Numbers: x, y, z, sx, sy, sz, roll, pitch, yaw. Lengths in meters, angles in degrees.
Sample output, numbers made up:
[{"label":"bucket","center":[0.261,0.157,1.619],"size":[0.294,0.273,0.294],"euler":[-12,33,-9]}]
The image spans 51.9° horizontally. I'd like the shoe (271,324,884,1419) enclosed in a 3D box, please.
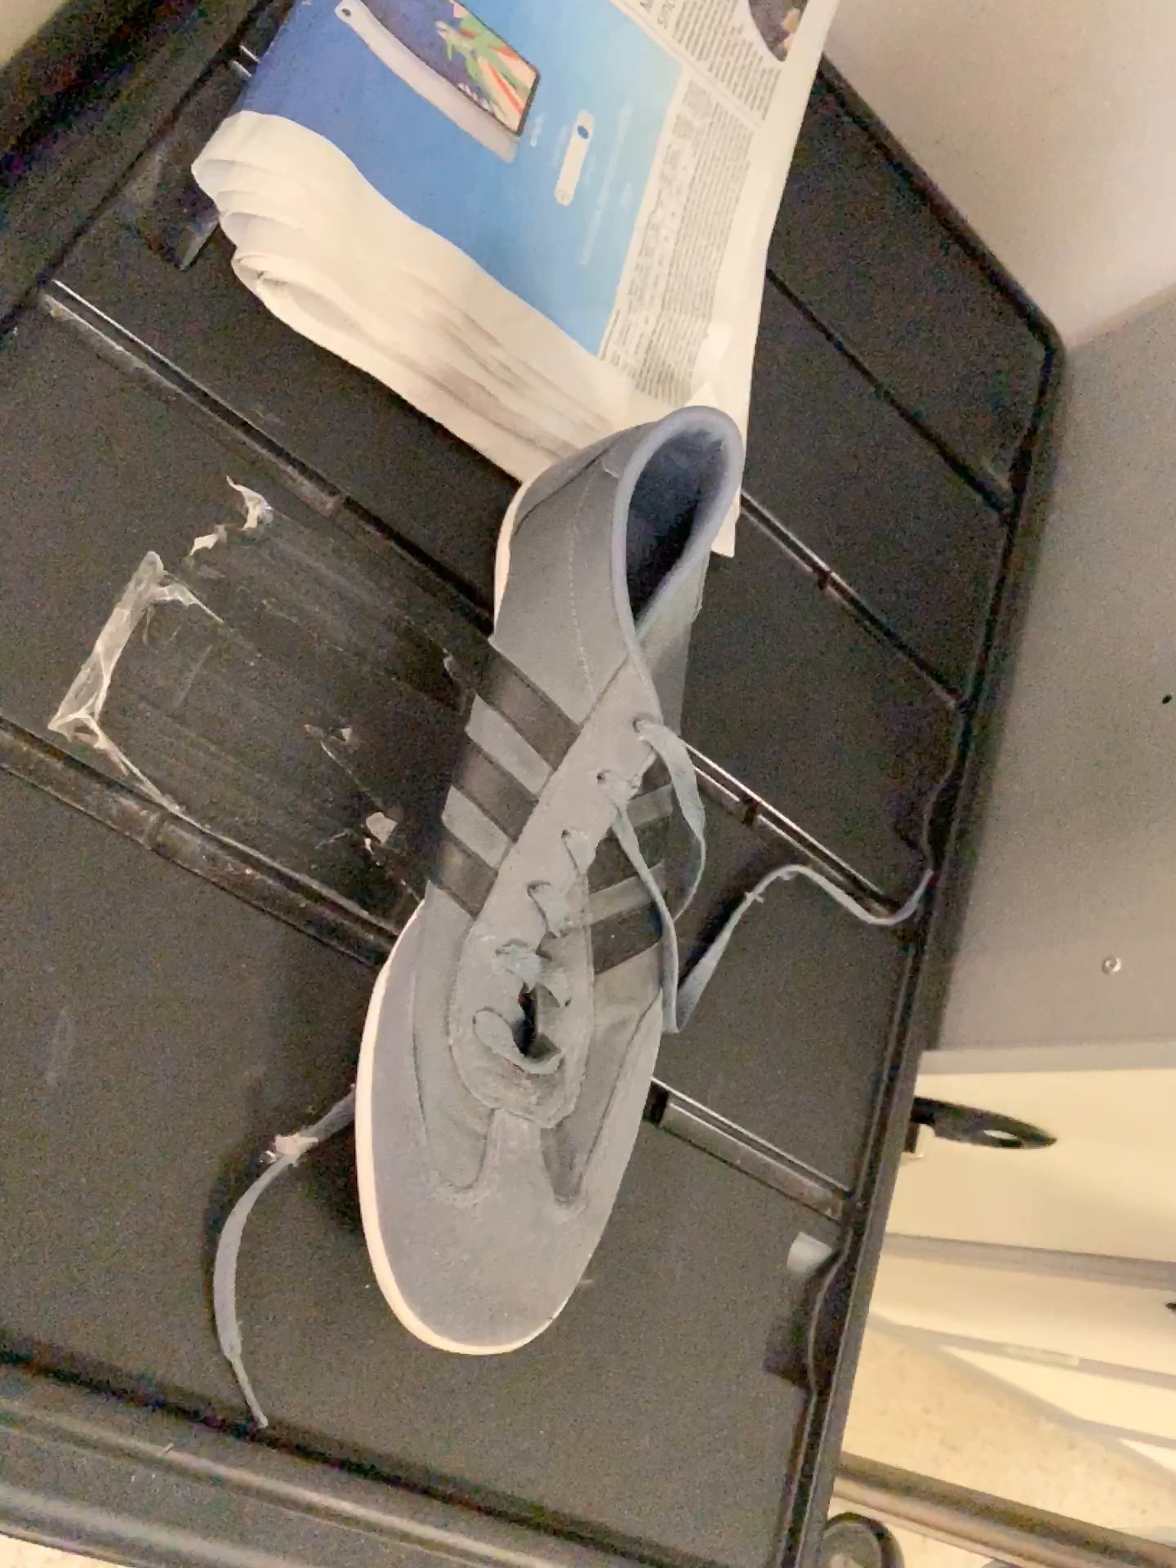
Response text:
[{"label":"shoe","center":[0.010,0.022,0.346],"size":[0.114,0.077,0.268],"euler":[23,65,-32]}]
